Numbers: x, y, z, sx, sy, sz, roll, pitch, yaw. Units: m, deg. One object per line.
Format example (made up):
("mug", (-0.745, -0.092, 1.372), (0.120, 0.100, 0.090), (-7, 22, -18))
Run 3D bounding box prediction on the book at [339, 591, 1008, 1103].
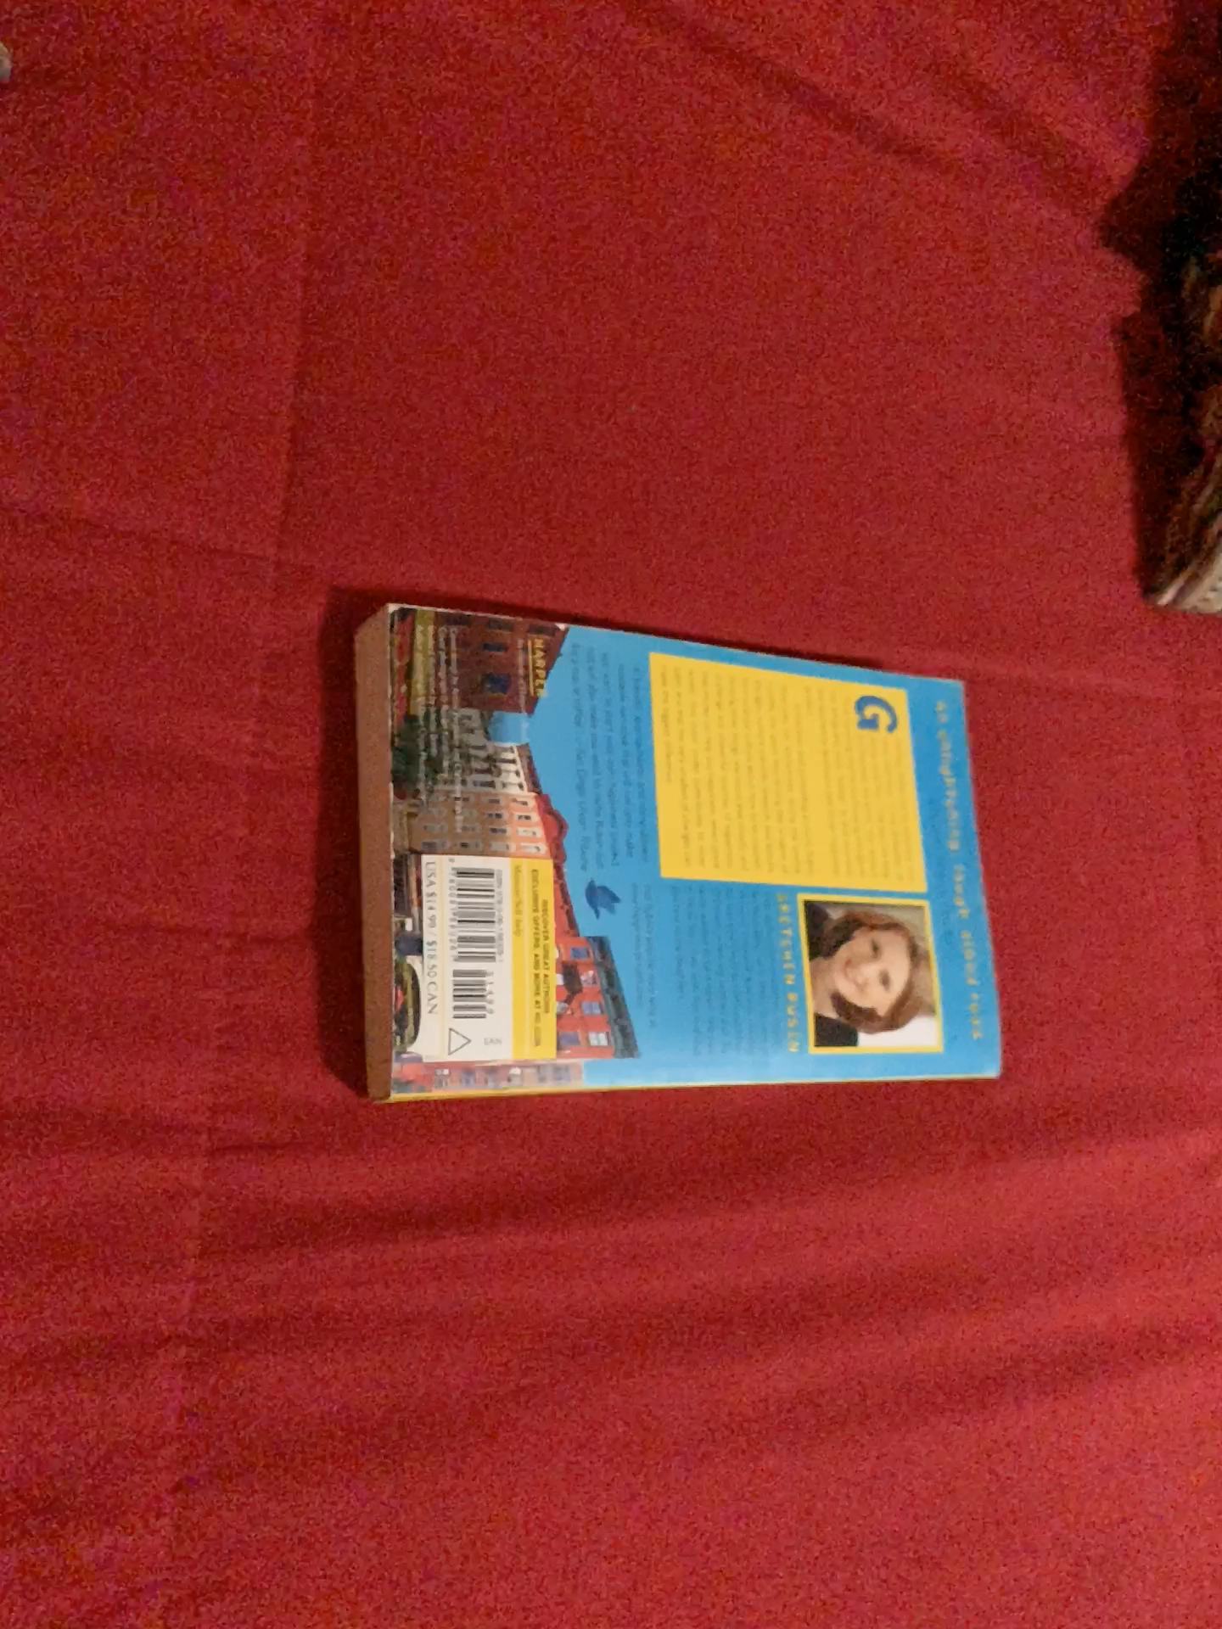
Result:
("book", (0.023, 0.016, 0.380), (0.202, 0.033, 0.133), (5, 74, -26))
